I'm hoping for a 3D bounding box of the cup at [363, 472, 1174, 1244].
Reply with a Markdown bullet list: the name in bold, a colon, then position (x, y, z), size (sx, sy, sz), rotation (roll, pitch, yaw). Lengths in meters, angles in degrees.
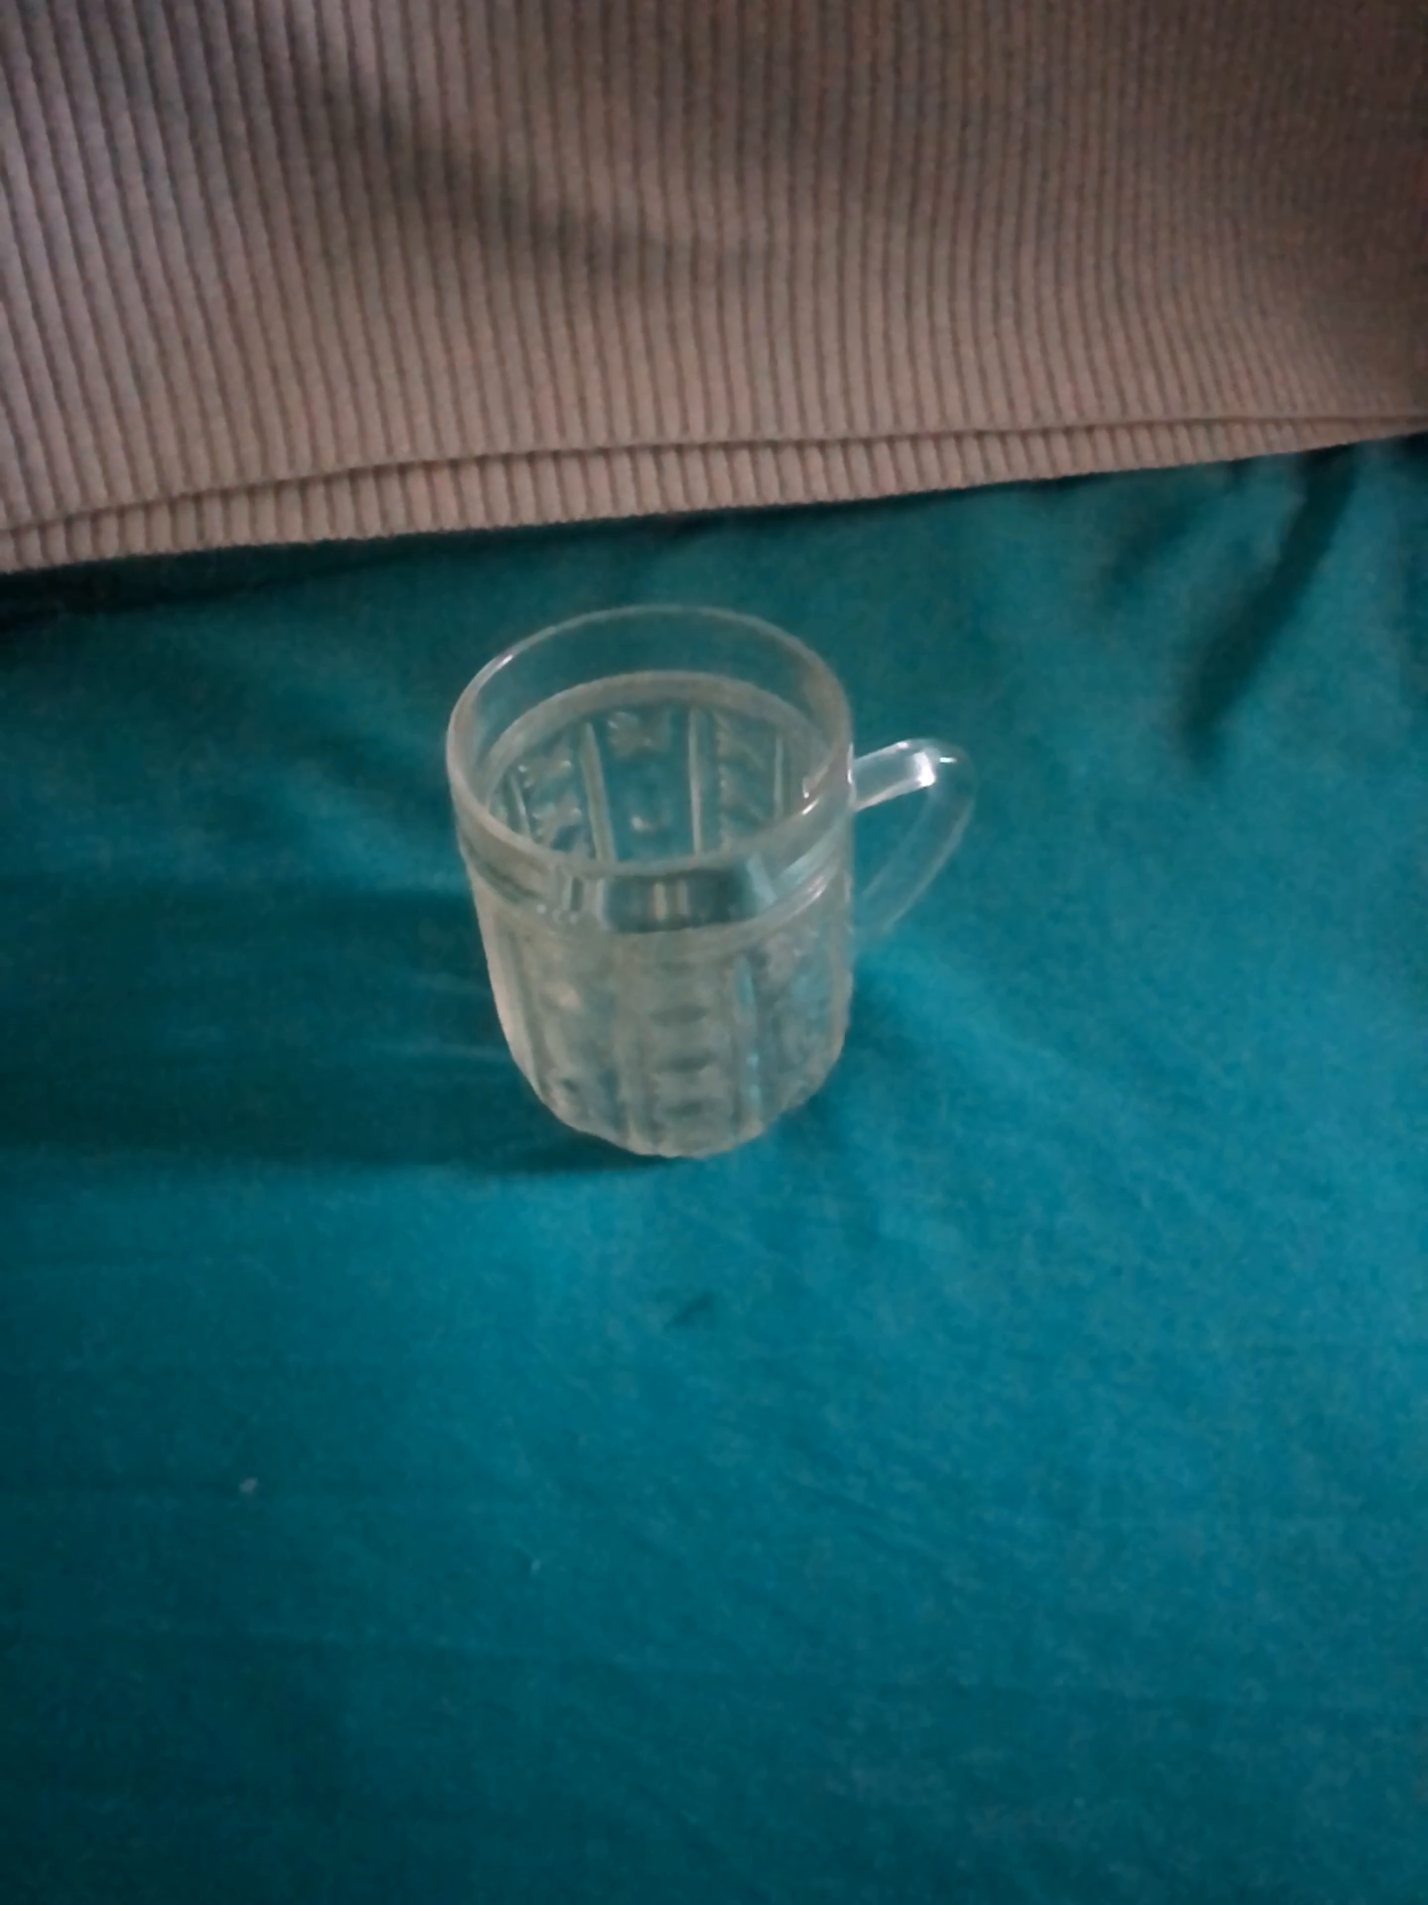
- **cup**: position (0.008, -0.017, 0.269), size (0.104, 0.076, 0.064), rotation (-24, 56, -17)
